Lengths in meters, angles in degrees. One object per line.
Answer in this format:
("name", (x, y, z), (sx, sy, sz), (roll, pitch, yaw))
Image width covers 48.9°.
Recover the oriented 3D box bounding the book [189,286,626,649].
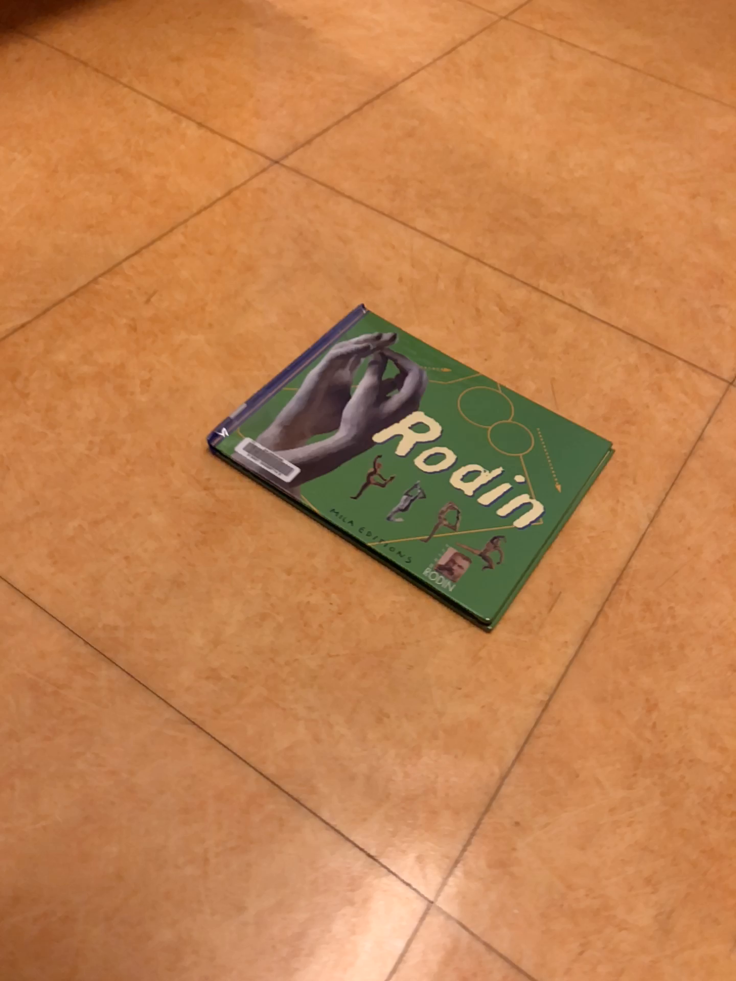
("book", (0.032, -0.034, 0.585), (0.243, 0.030, 0.201), (33, 55, 15))
